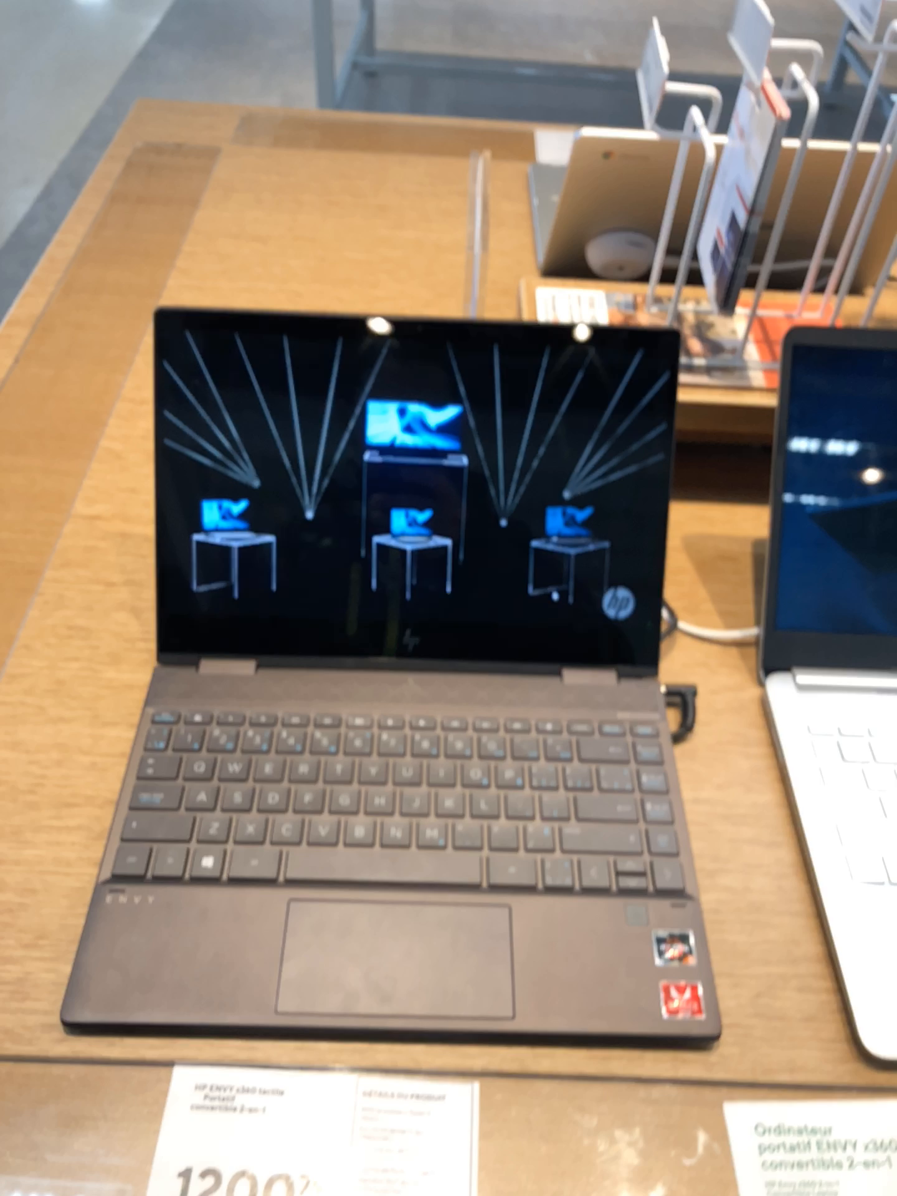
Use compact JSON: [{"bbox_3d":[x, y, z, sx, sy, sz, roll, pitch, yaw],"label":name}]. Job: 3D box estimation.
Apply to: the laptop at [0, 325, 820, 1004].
[{"bbox_3d":[-0.016,0.018,0.520,0.293,0.162,0.319,2,46,-1],"label":"laptop"}]
